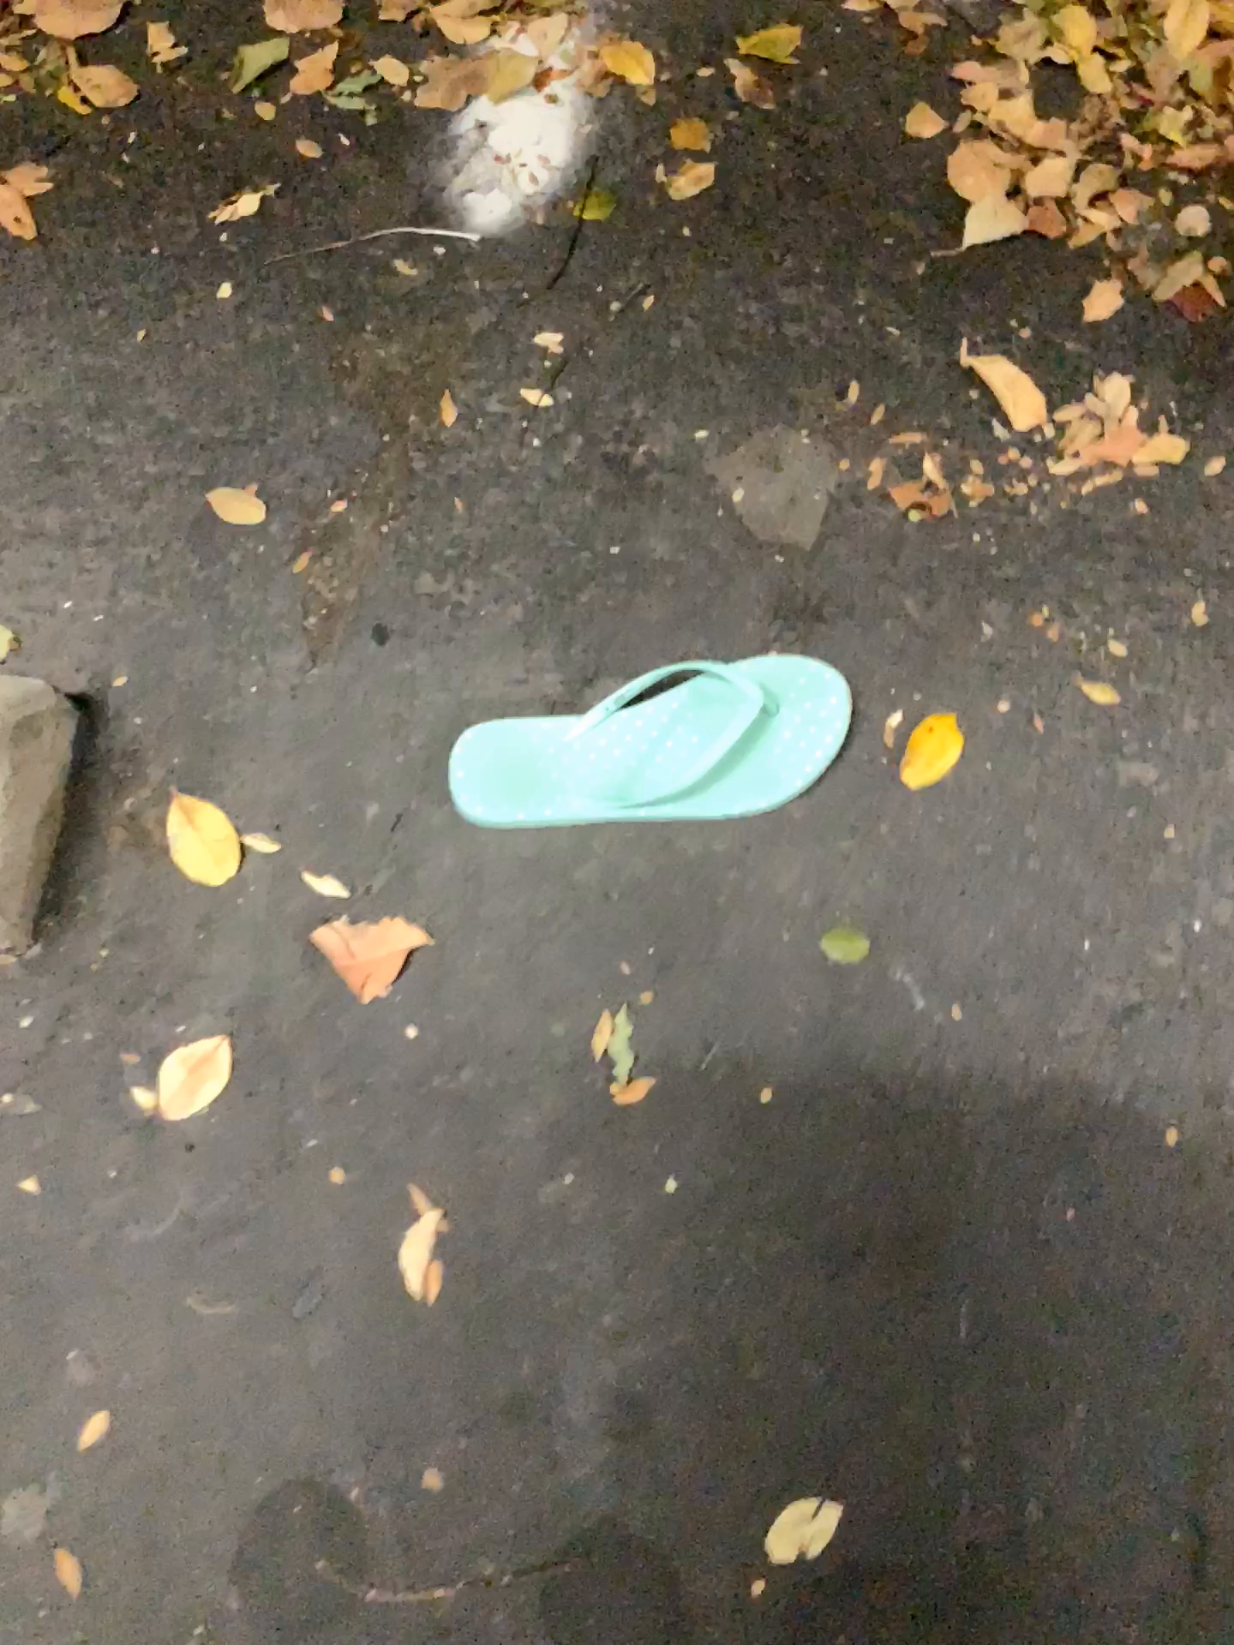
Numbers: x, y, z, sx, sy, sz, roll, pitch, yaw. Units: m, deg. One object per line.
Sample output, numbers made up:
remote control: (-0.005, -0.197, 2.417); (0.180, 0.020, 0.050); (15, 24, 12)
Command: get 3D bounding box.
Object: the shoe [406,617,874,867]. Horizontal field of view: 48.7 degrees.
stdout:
shoe: (0.012, -0.052, 0.878); (0.280, 0.050, 0.120); (-7, 70, -2)
